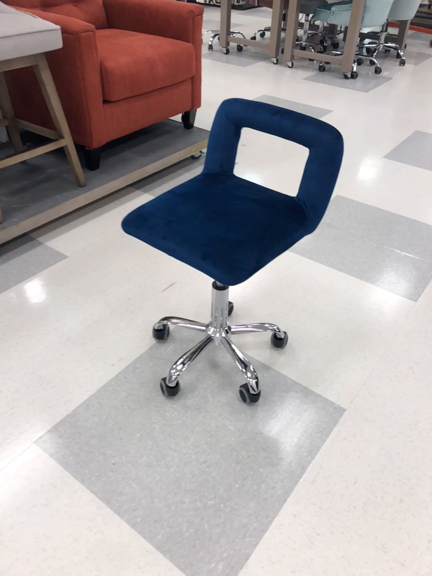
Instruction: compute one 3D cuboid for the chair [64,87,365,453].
[{"bbox_3d":[0.007,-0.073,1.278,0.448,0.719,0.531,26,43,29],"label":"chair"}]
